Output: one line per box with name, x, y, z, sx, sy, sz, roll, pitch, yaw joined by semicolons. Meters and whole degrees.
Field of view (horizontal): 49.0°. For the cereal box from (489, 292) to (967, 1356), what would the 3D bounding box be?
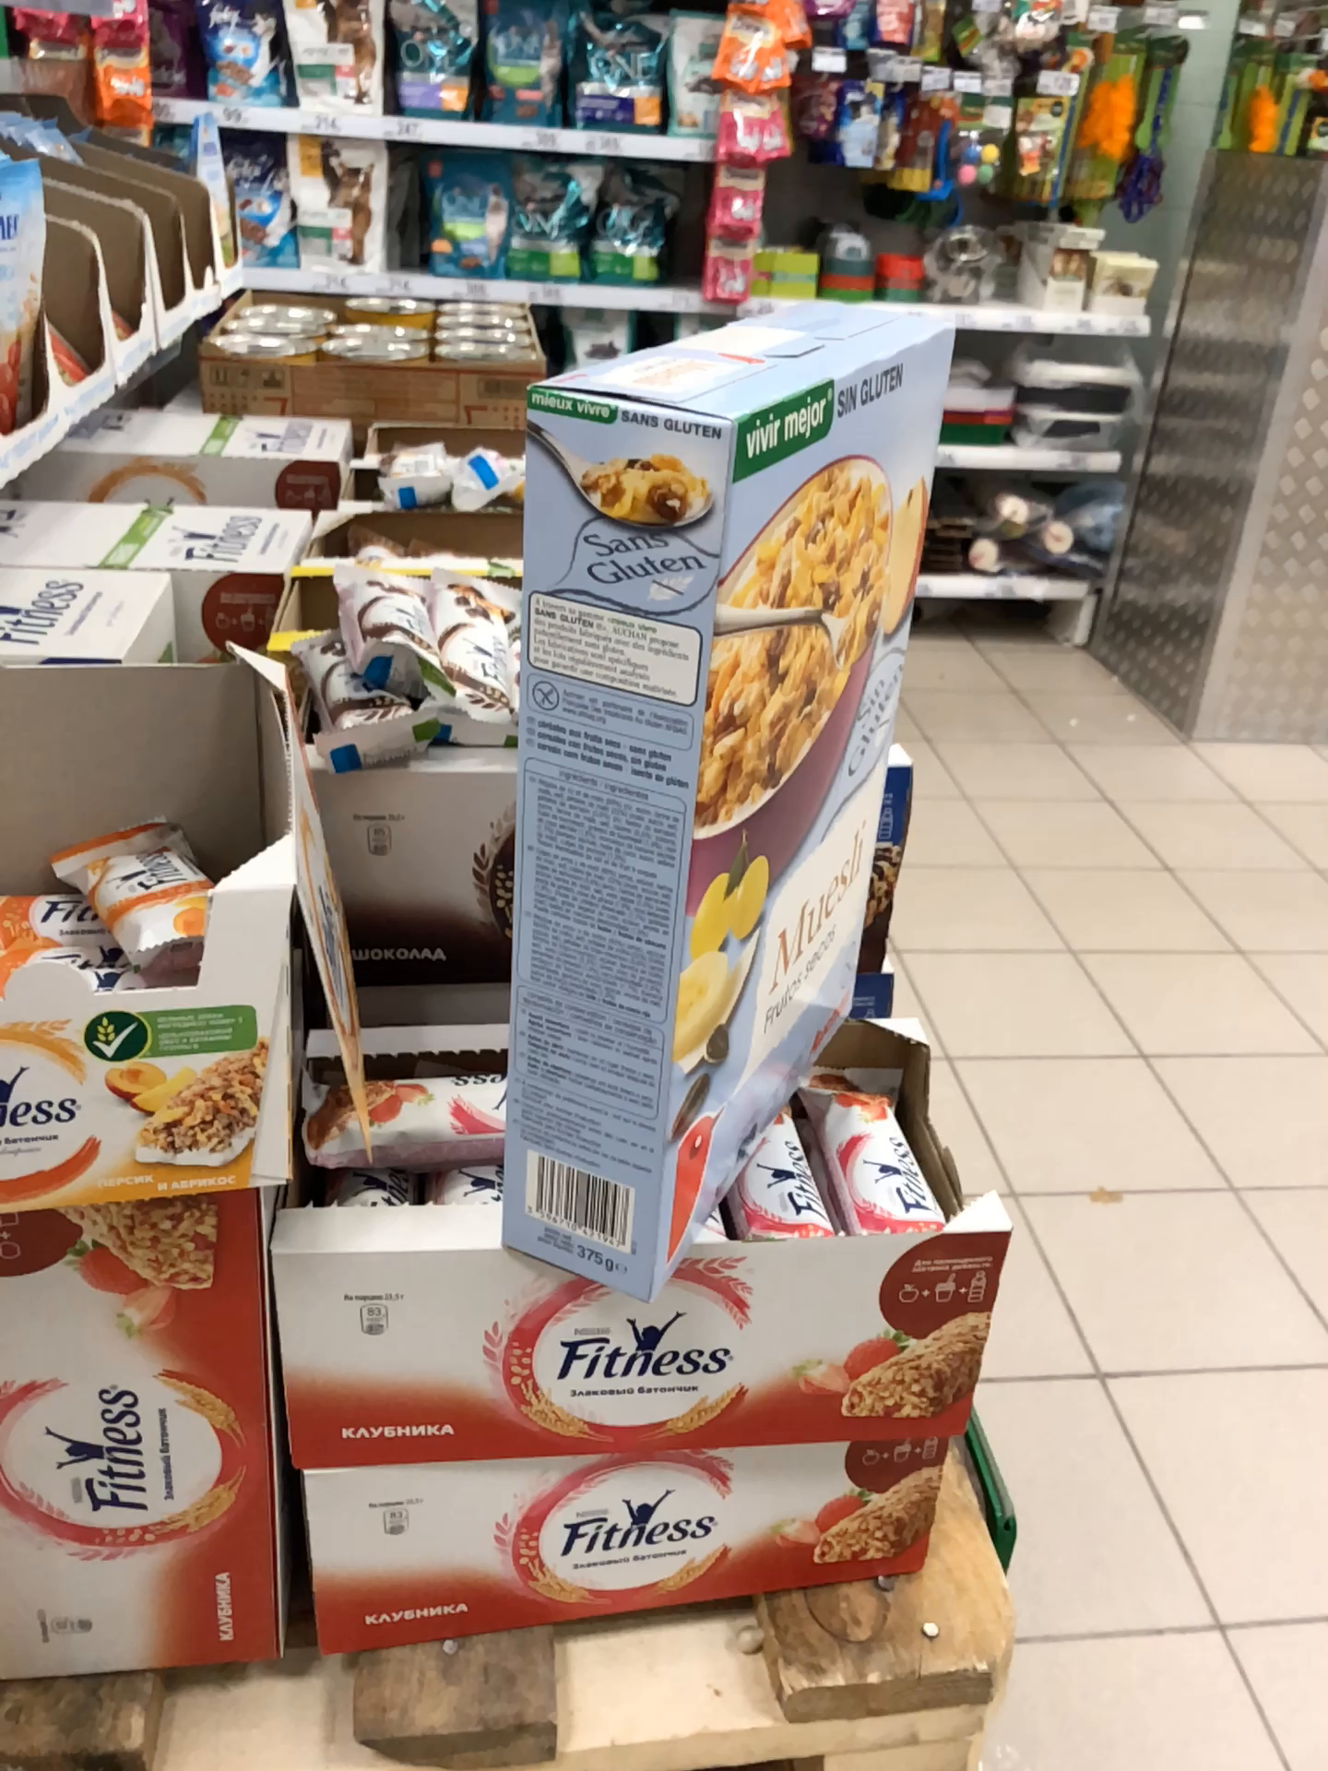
cereal box;0.021;-0.029;0.479;0.060;0.288;0.201;15;30;21
